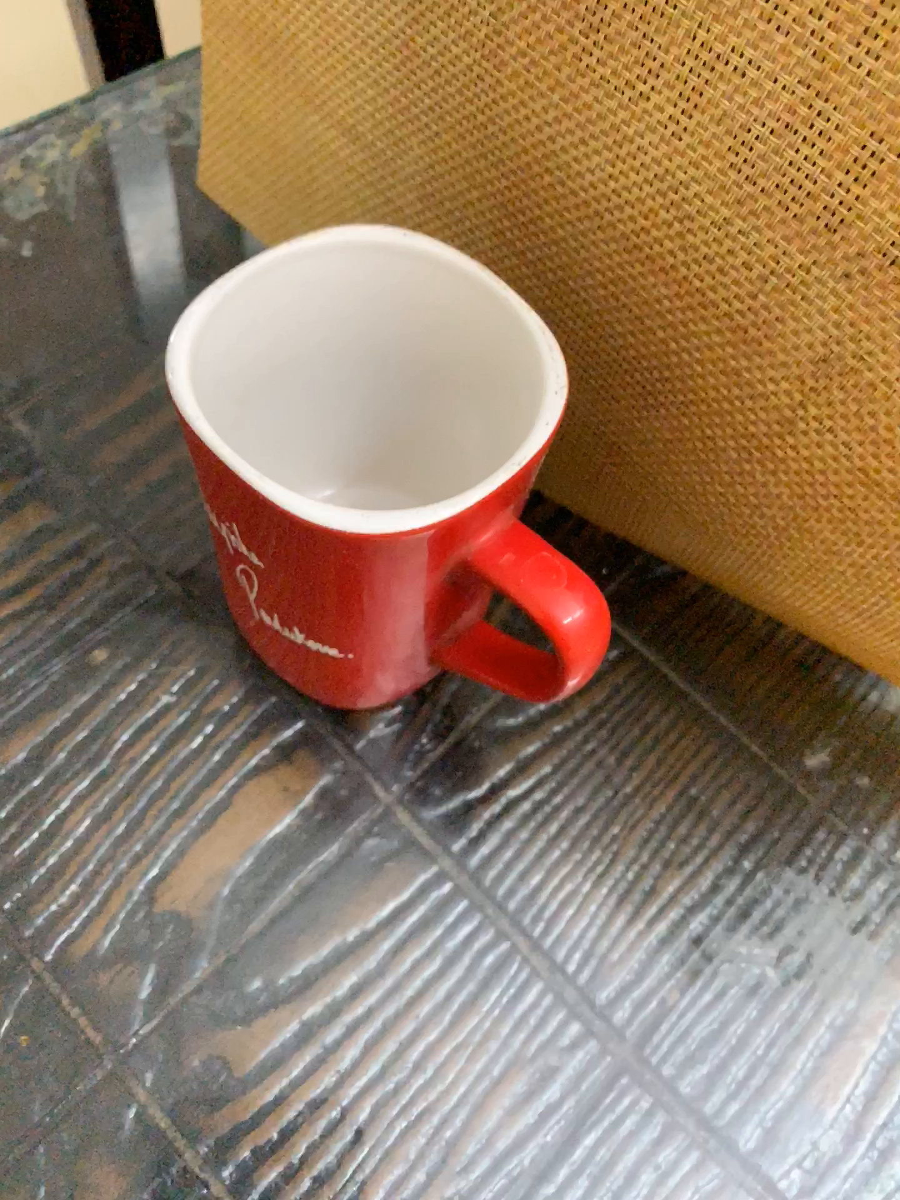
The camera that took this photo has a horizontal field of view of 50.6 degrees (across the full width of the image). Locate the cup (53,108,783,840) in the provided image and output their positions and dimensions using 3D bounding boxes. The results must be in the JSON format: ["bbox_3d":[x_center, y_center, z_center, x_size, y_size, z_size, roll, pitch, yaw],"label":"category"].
[{"bbox_3d":[-0.009,-0.021,0.190,0.096,0.085,0.070,39,64,15],"label":"cup"}]
